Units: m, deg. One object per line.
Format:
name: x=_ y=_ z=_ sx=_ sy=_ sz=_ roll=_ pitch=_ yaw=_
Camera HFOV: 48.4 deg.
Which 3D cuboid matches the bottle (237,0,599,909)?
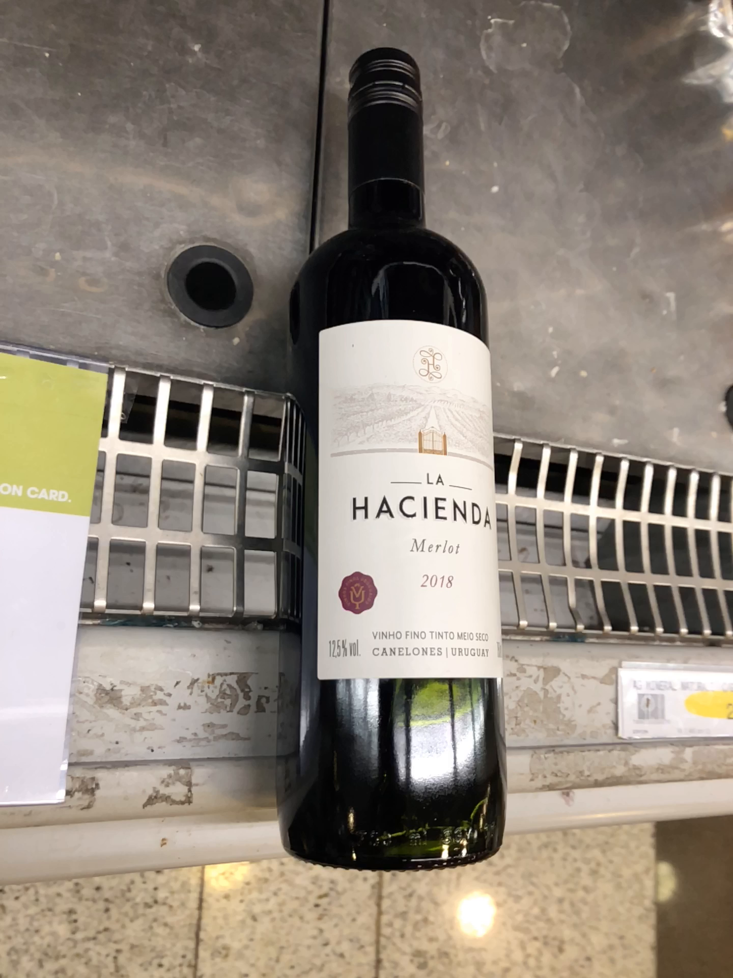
bottle: x=0.012 y=-0.038 z=0.271 sx=0.080 sy=0.070 sz=0.300 roll=7 pitch=74 yaw=-27
